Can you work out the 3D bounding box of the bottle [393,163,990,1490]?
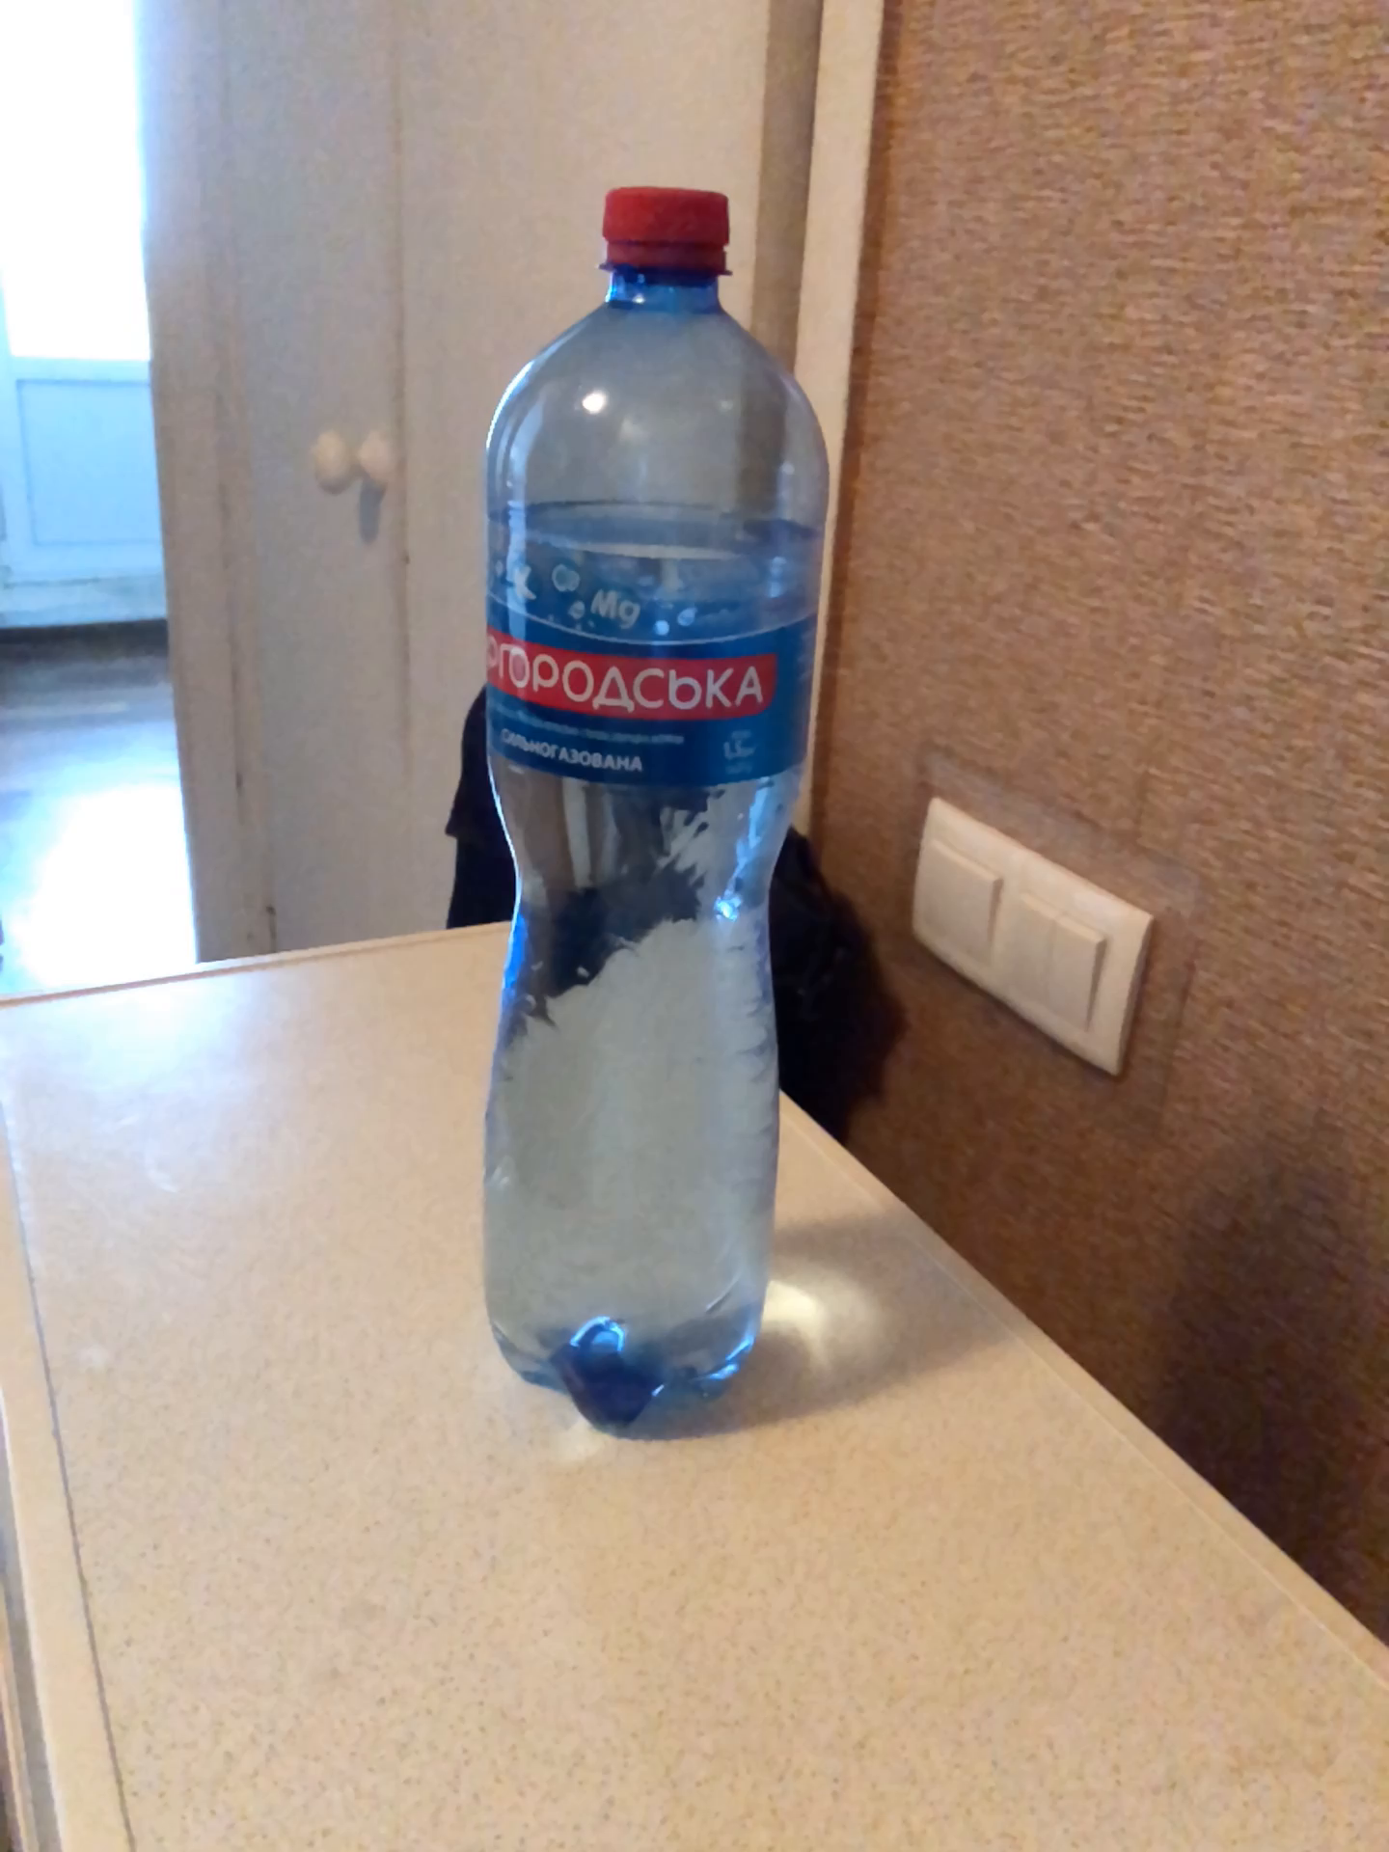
[{"bbox_3d":[-0.006,-0.023,0.412,0.100,0.318,0.100,3,23,-1],"label":"bottle"}]
